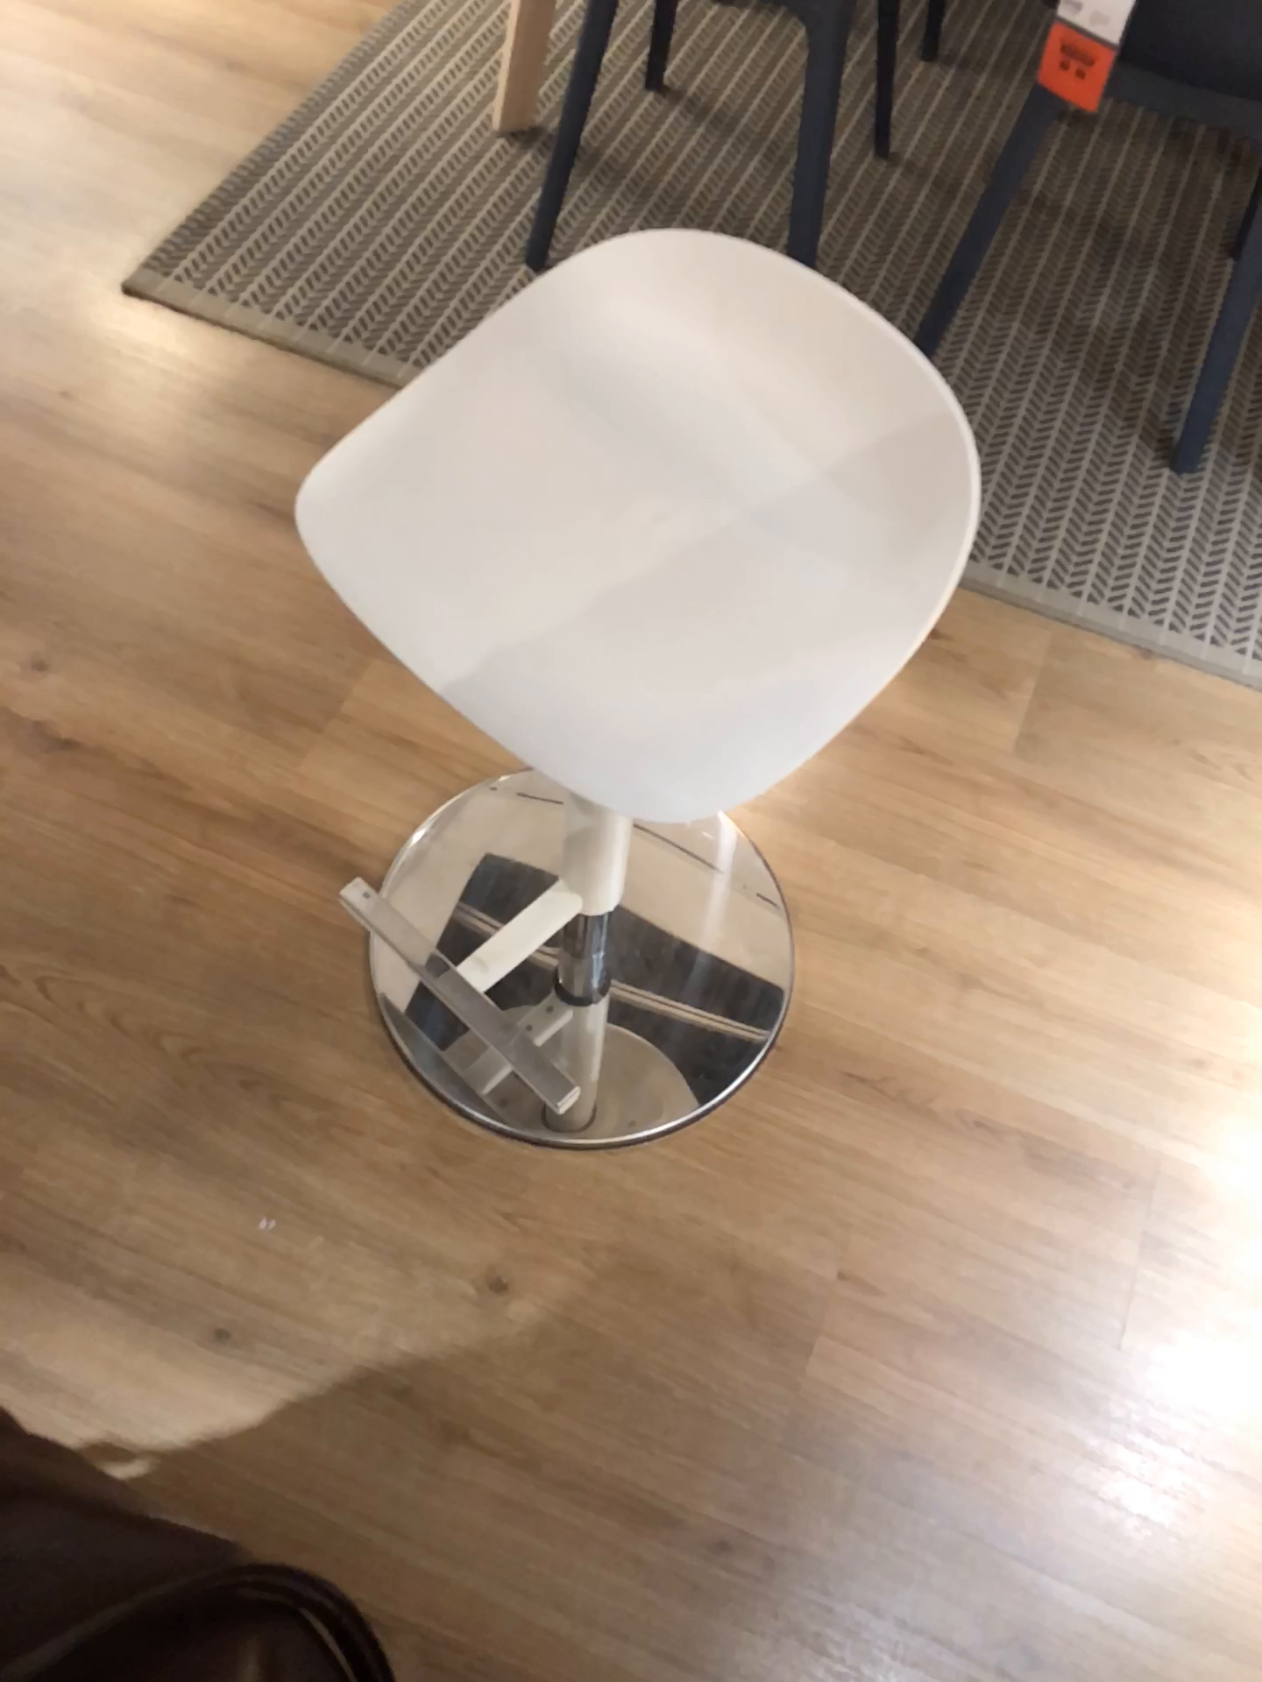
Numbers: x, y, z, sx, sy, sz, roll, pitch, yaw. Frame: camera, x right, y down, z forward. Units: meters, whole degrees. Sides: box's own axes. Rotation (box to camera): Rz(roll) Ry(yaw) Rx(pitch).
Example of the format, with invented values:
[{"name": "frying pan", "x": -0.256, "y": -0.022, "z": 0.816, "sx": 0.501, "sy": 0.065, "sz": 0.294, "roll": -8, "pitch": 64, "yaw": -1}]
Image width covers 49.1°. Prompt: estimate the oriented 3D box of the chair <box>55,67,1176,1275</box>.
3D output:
[{"name": "chair", "x": -0.021, "y": -0.073, "z": 1.069, "sx": 0.440, "sy": 0.699, "sz": 0.451, "roll": 38, "pitch": 63, "yaw": 17}]
